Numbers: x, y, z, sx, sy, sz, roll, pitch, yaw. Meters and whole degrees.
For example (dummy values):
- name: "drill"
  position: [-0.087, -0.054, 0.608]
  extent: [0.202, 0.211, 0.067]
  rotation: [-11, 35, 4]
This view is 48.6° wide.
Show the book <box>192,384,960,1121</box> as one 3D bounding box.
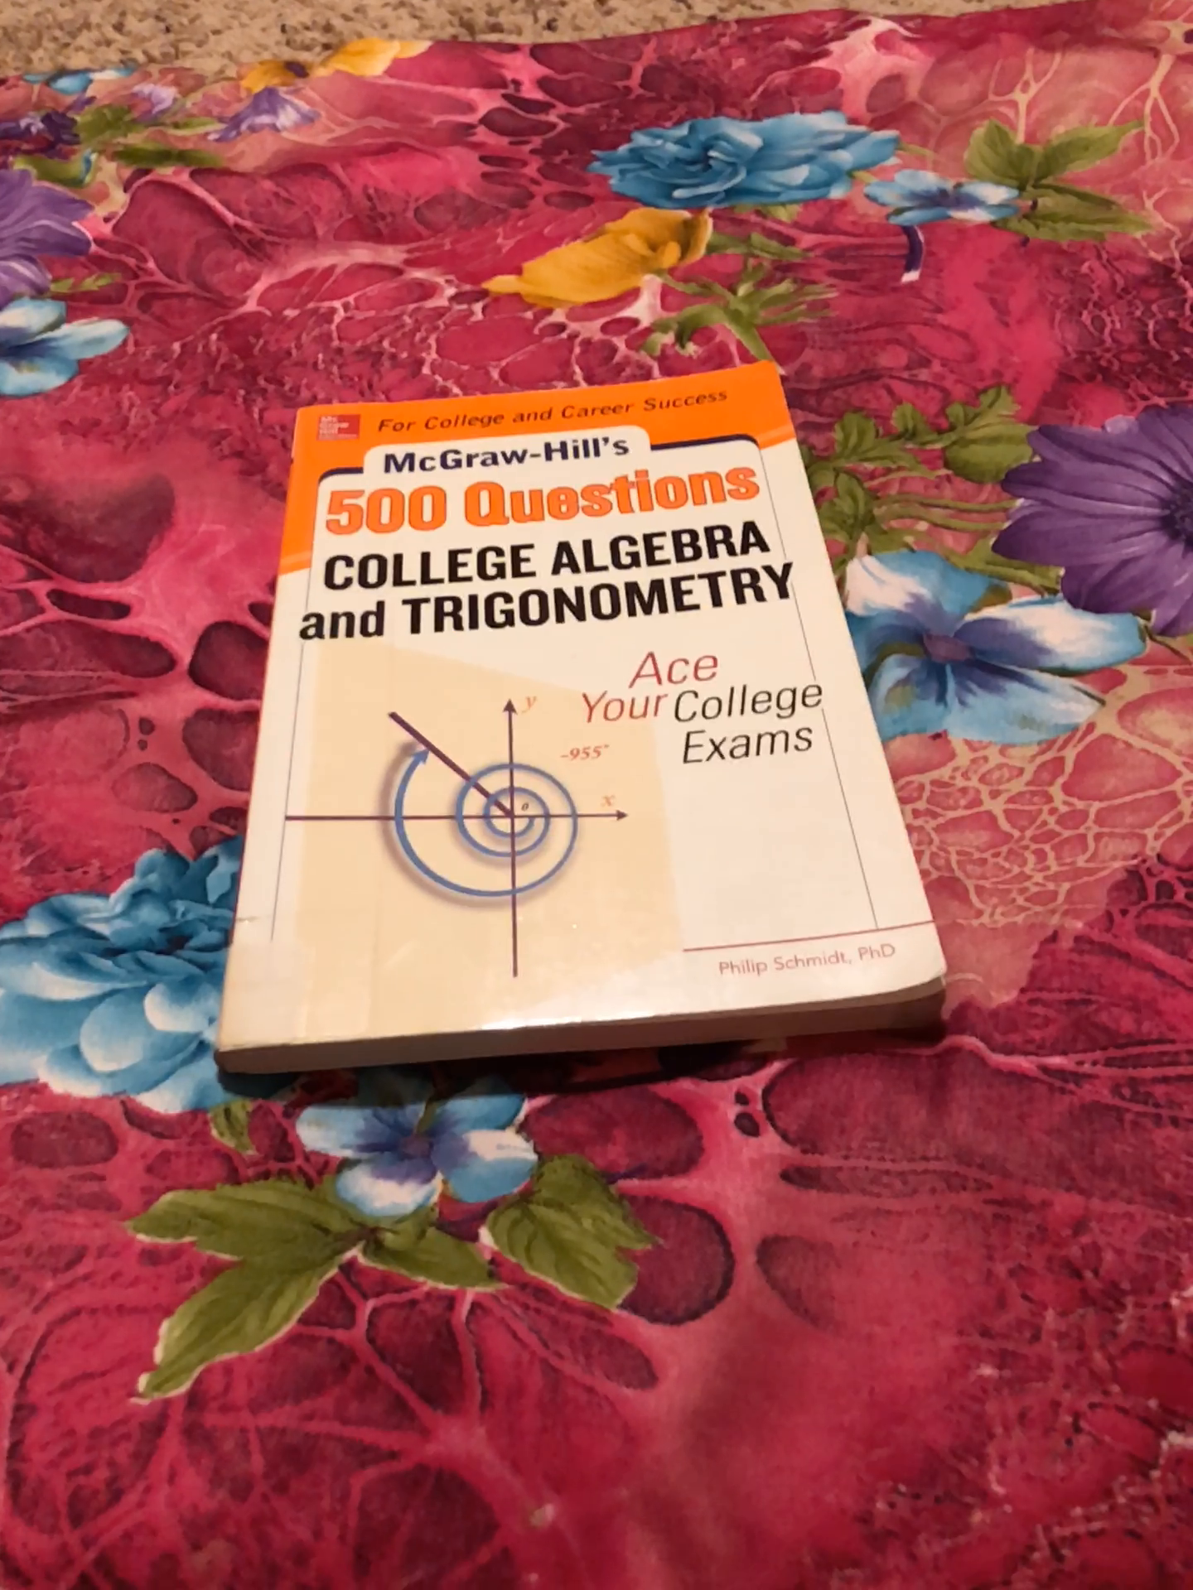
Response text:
- name: "book"
  position: [-0.011, -0.028, 0.345]
  extent: [0.156, 0.022, 0.221]
  rotation: [-4, 51, -1]
